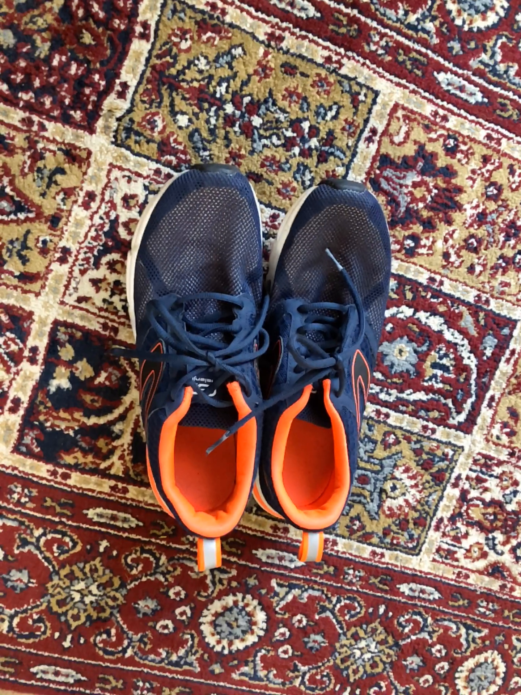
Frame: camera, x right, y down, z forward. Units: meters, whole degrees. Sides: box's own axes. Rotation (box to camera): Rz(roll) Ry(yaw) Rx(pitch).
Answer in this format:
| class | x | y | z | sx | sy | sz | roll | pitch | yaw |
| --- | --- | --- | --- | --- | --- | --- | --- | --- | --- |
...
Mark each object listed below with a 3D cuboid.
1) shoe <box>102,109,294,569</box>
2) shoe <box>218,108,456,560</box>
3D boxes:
| class | x | y | z | sx | sy | sz | roll | pitch | yaw |
| --- | --- | --- | --- | --- | --- | --- | --- | --- | --- |
| shoe | -0.058 | -0.004 | 0.481 | 0.120 | 0.130 | 0.330 | 3 | 100 | -9 |
| shoe | 0.050 | -0.008 | 0.495 | 0.120 | 0.130 | 0.330 | 7 | 99 | -10 |
